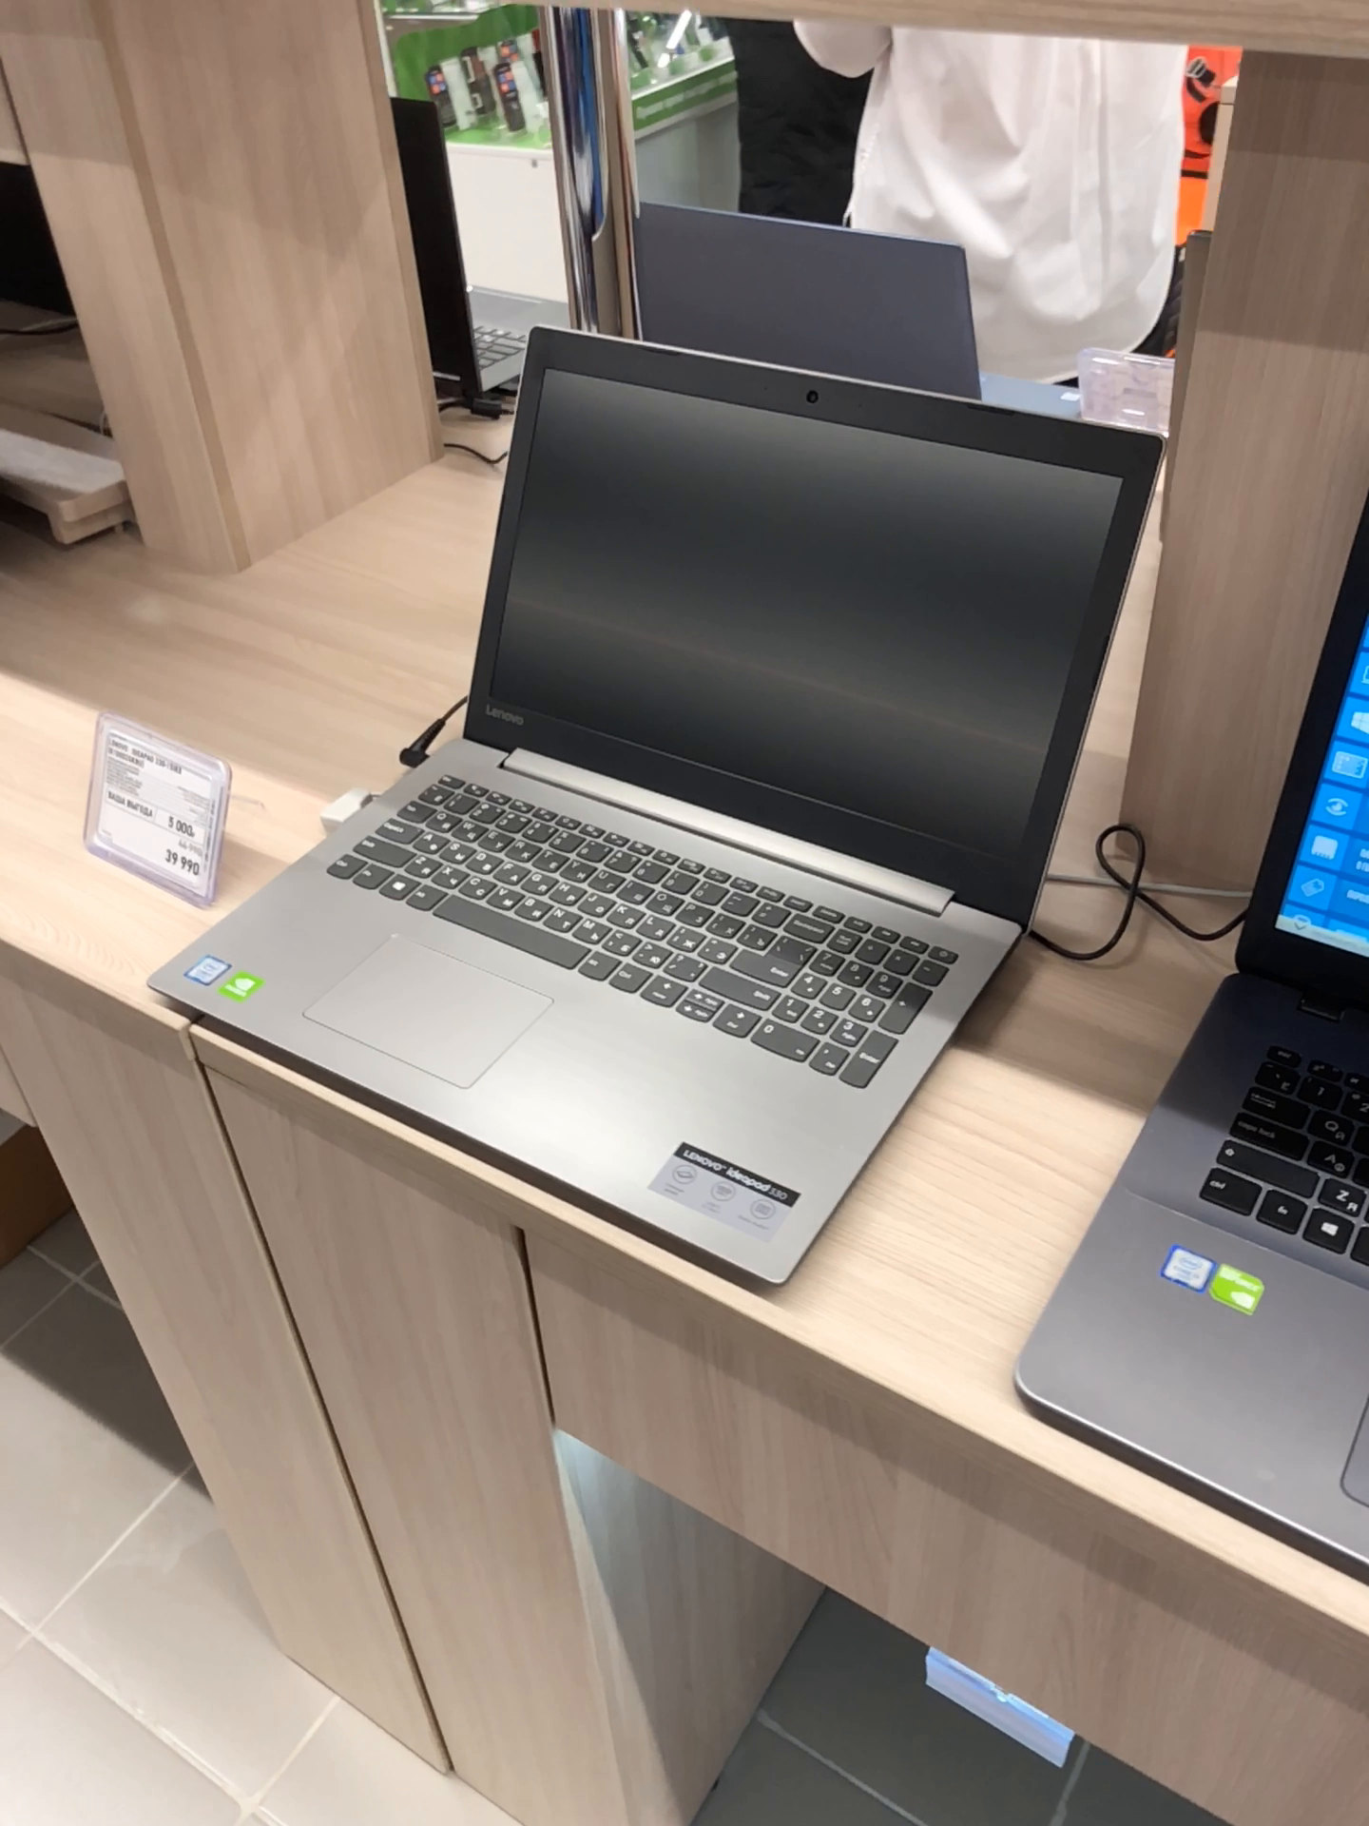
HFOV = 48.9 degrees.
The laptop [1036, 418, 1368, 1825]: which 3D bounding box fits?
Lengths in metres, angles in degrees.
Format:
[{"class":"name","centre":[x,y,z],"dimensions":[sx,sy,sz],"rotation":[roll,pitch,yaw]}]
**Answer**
[{"class":"laptop","centre":[0.377,0.051,0.497],"dimensions":[0.403,0.246,0.335],"rotation":[20,45,27]}]

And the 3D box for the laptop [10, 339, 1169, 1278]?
[{"class":"laptop","centre":[-0.025,-0.093,0.733],"dimensions":[0.370,0.208,0.367],"rotation":[20,45,27]}]
